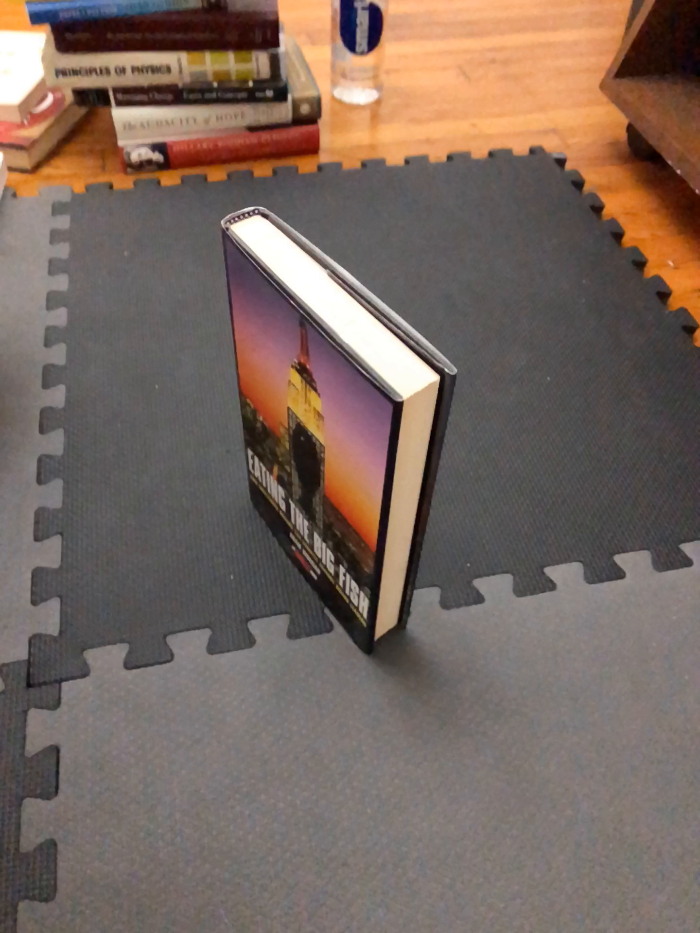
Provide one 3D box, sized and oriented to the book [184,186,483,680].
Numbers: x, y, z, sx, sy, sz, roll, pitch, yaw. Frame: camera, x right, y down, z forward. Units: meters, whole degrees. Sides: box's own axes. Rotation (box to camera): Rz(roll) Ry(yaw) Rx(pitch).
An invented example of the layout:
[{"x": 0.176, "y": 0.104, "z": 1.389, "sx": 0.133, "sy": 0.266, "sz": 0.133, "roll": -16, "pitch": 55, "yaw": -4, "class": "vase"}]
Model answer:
[{"x": -0.016, "y": -0.007, "z": 0.475, "sx": 0.050, "sy": 0.258, "sz": 0.181, "roll": -29, "pitch": 56, "yaw": -23, "class": "book"}]
